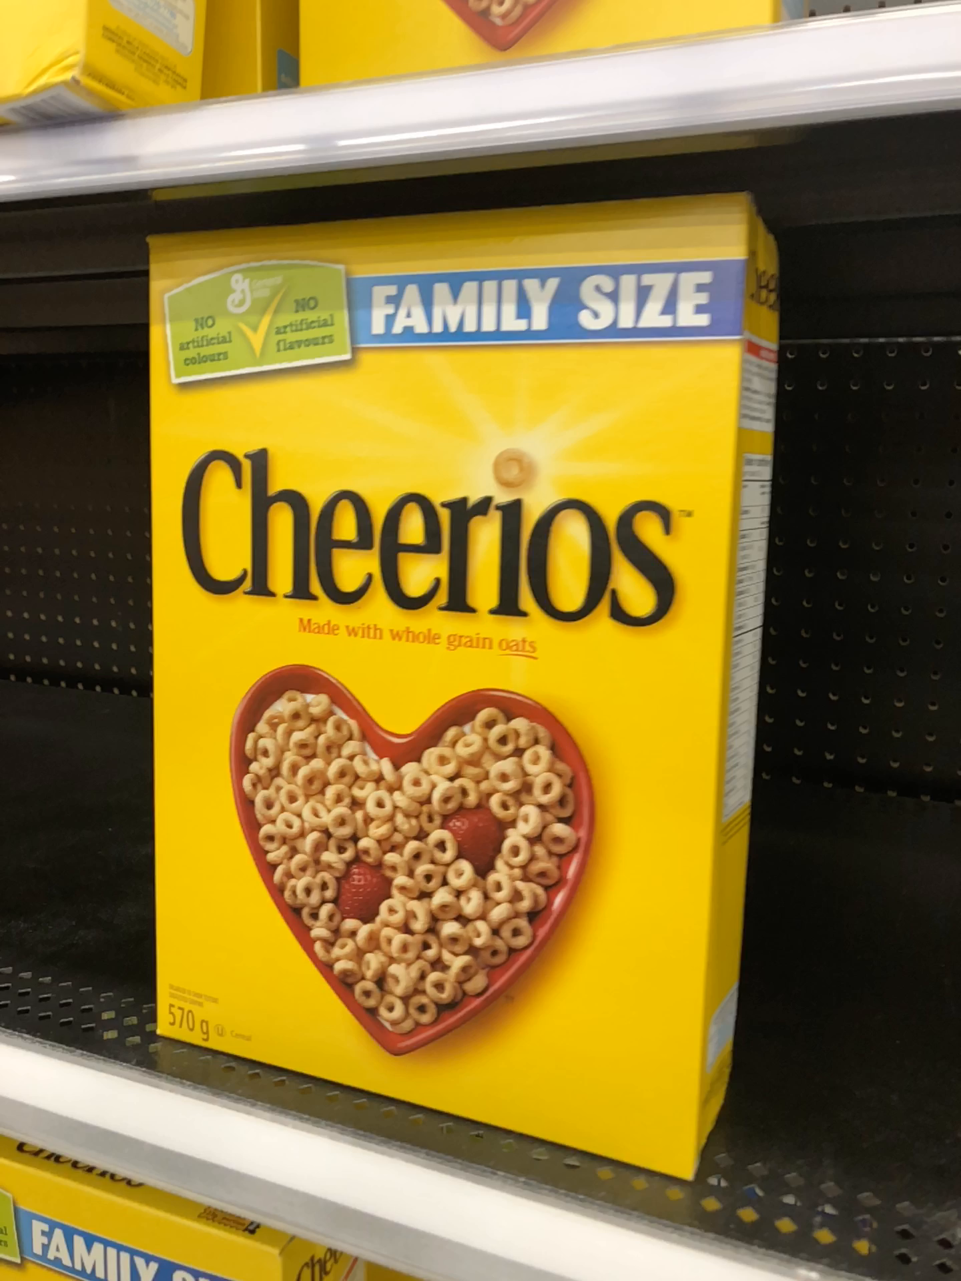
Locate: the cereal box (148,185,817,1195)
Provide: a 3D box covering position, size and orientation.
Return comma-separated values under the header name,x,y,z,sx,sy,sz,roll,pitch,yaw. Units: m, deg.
name,x,y,z,sx,sy,sz,roll,pitch,yaw
cereal box,-0.005,0.011,0.432,0.240,0.339,0.090,6,10,21
